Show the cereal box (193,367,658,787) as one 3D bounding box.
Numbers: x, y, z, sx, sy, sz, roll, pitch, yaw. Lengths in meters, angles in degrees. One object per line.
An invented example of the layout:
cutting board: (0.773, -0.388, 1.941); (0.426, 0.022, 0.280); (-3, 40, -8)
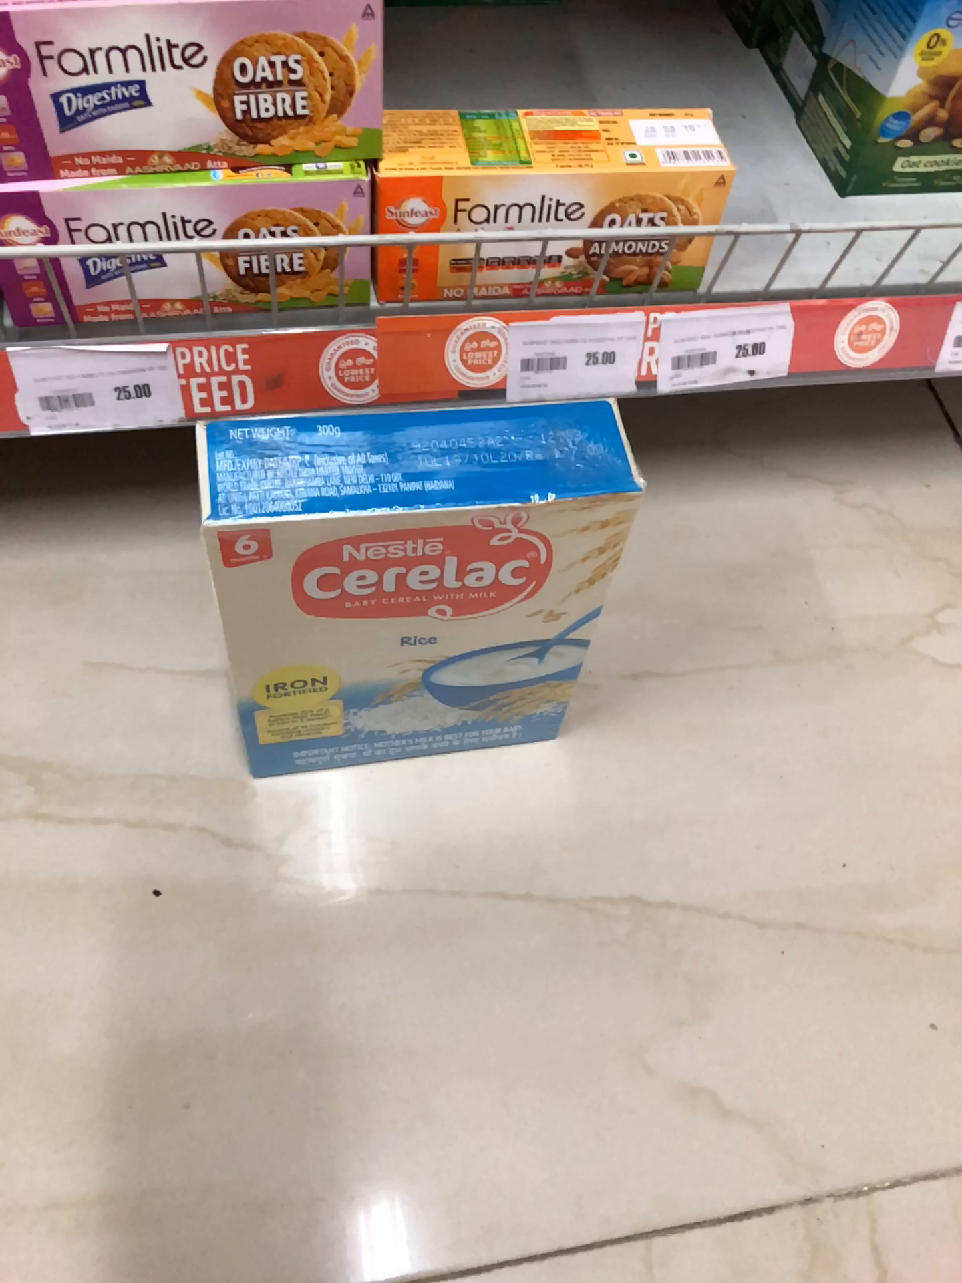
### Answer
cereal box: (-0.028, -0.017, 0.440); (0.150, 0.189, 0.060); (-7, 59, -11)
